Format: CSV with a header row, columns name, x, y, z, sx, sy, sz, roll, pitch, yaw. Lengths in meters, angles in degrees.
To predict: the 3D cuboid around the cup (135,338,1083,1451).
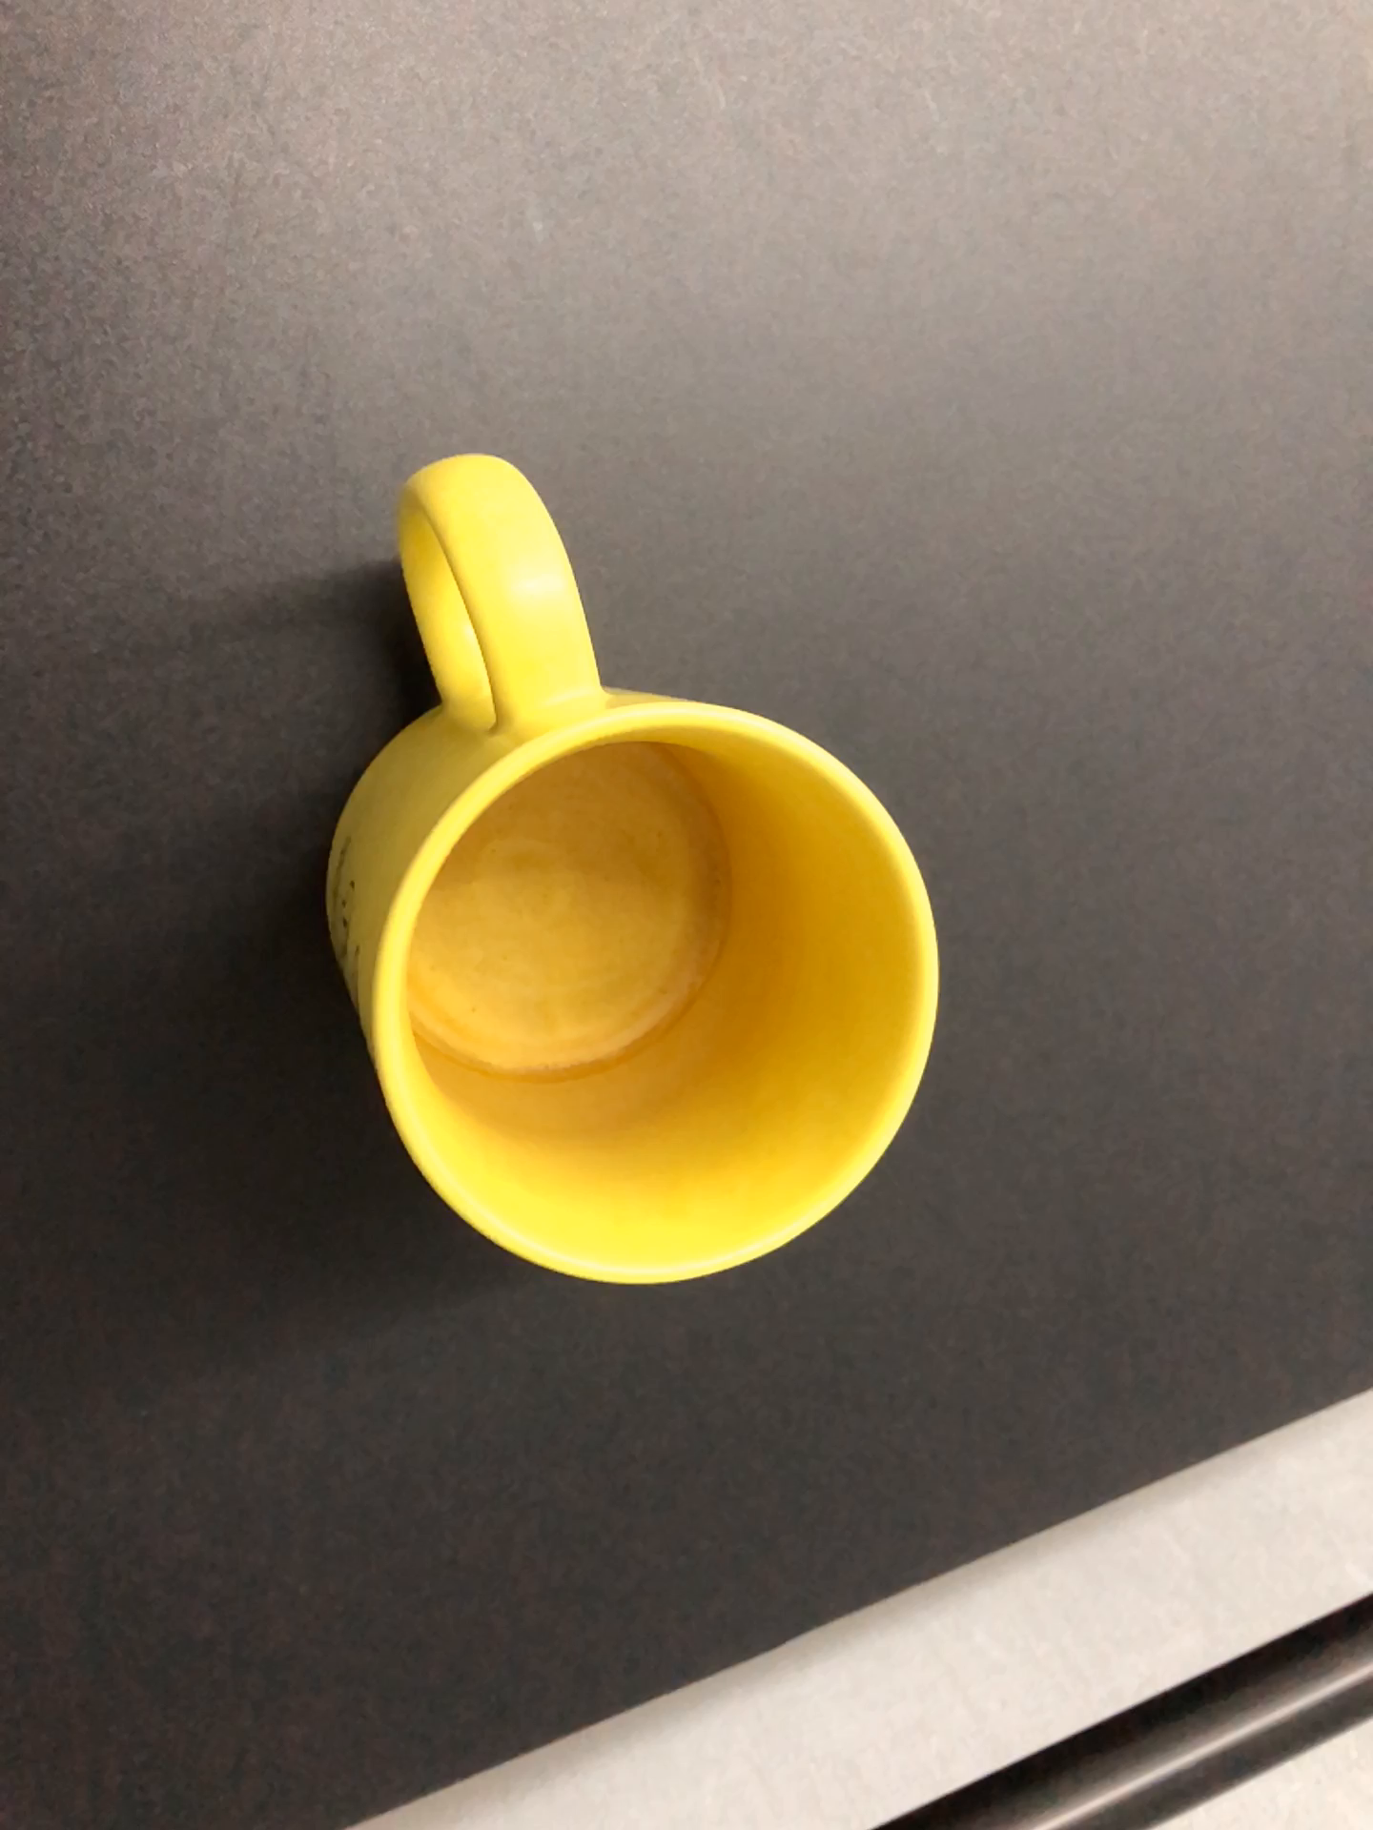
name,x,y,z,sx,sy,sz,roll,pitch,yaw
cup,-0.017,-0.009,0.253,0.089,0.102,0.125,-25,107,-11
